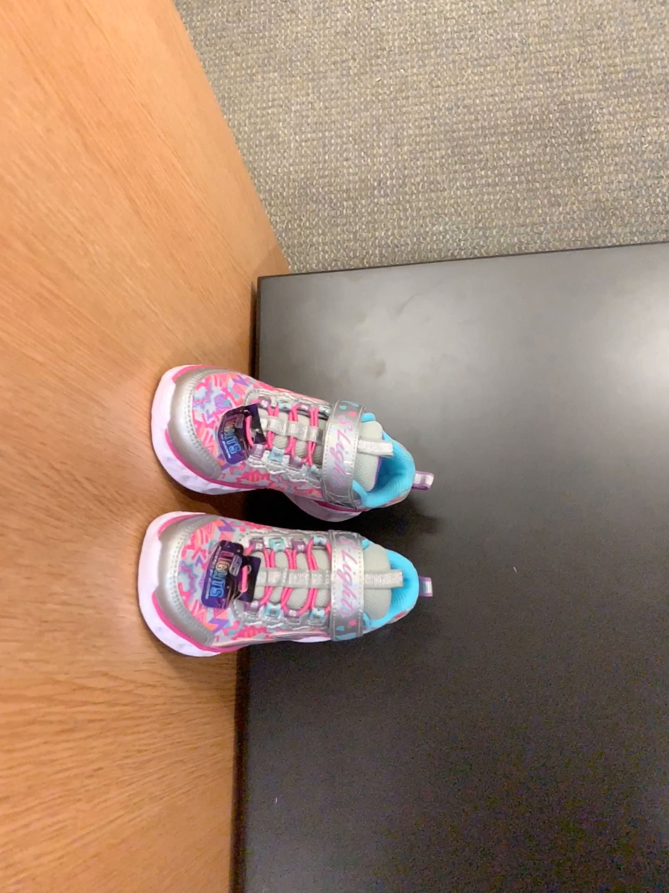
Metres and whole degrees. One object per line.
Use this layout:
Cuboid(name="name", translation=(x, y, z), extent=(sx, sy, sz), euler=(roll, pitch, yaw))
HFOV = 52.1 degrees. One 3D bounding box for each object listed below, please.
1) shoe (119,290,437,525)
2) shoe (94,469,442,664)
Cuboid(name="shoe", translation=(-0.030, -0.012, 0.454), extent=(0.100, 0.180, 0.090), euler=(-17, 64, 47))
Cuboid(name="shoe", translation=(-0.035, 0.083, 0.417), extent=(0.100, 0.180, 0.090), euler=(-21, 64, 45))
